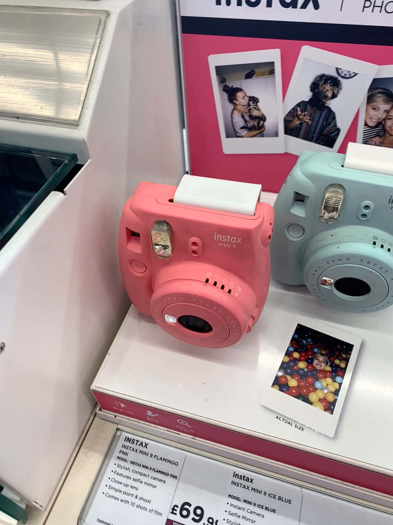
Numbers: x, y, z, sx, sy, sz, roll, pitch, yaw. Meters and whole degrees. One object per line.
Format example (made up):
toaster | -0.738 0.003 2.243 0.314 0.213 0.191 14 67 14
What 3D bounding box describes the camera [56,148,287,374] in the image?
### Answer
camera | -0.009 0.000 0.289 0.120 0.119 0.081 11 49 13
